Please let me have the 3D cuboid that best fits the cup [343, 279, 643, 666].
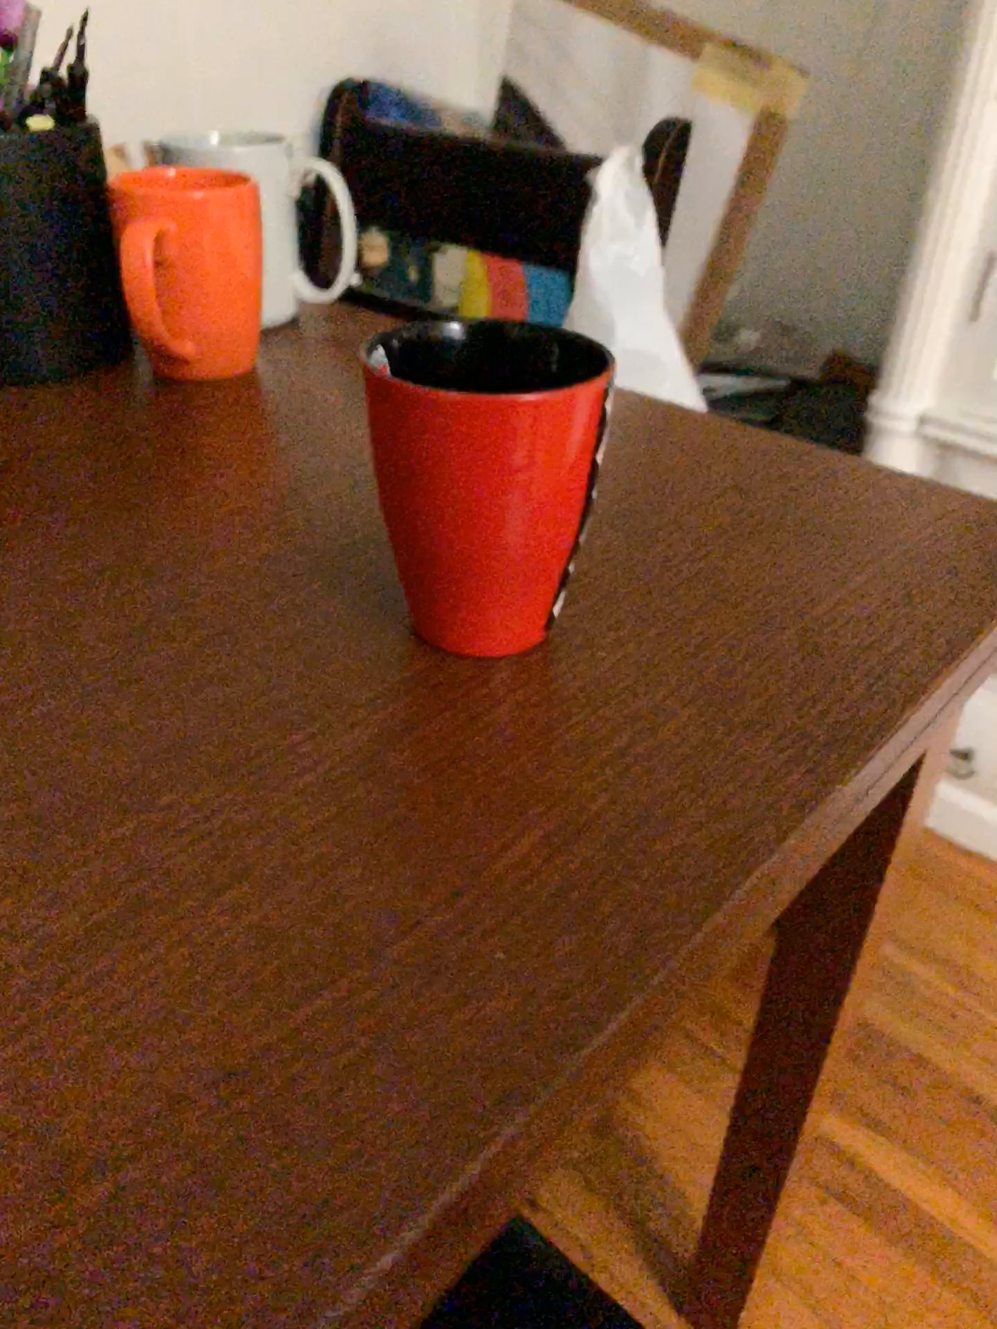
[{"bbox_3d":[-0.007,-0.078,0.391,0.090,0.099,0.131,-1,33,-4],"label":"cup"}]
